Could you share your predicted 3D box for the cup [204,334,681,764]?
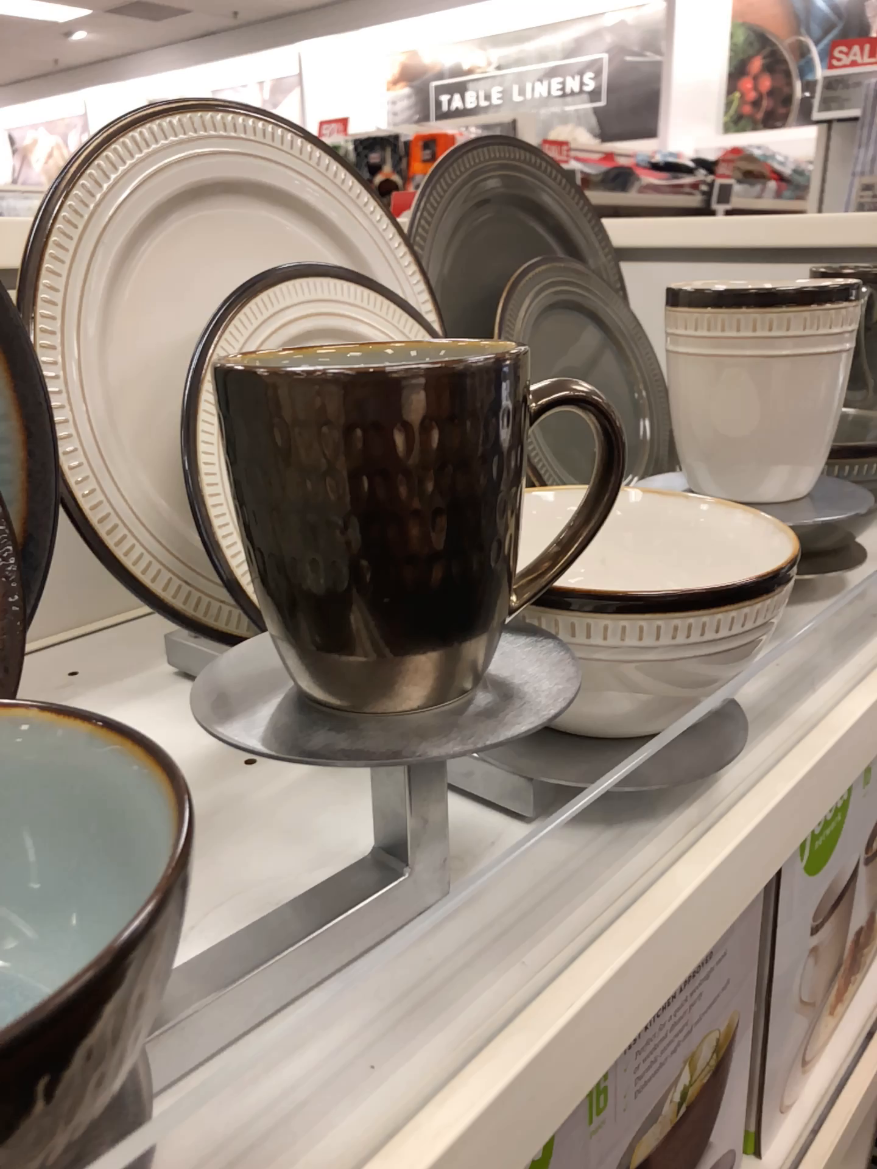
[{"bbox_3d":[-0.002,-0.020,0.300,0.117,0.100,0.084,-9,20,-20],"label":"cup"}]
